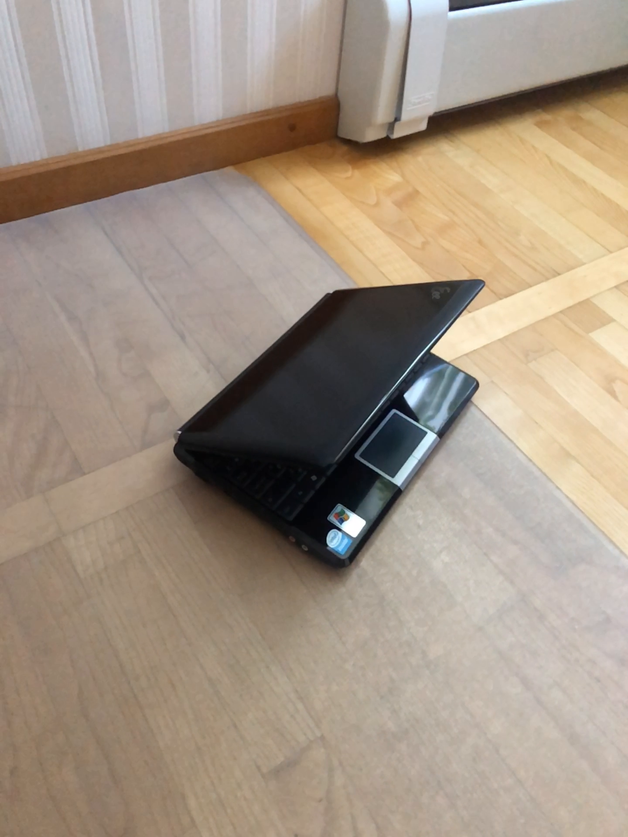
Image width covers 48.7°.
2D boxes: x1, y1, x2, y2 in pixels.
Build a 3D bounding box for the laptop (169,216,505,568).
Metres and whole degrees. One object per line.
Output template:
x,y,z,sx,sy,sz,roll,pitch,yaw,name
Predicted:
0.029,-0.039,0.628,0.182,0.102,0.265,32,53,14,laptop
